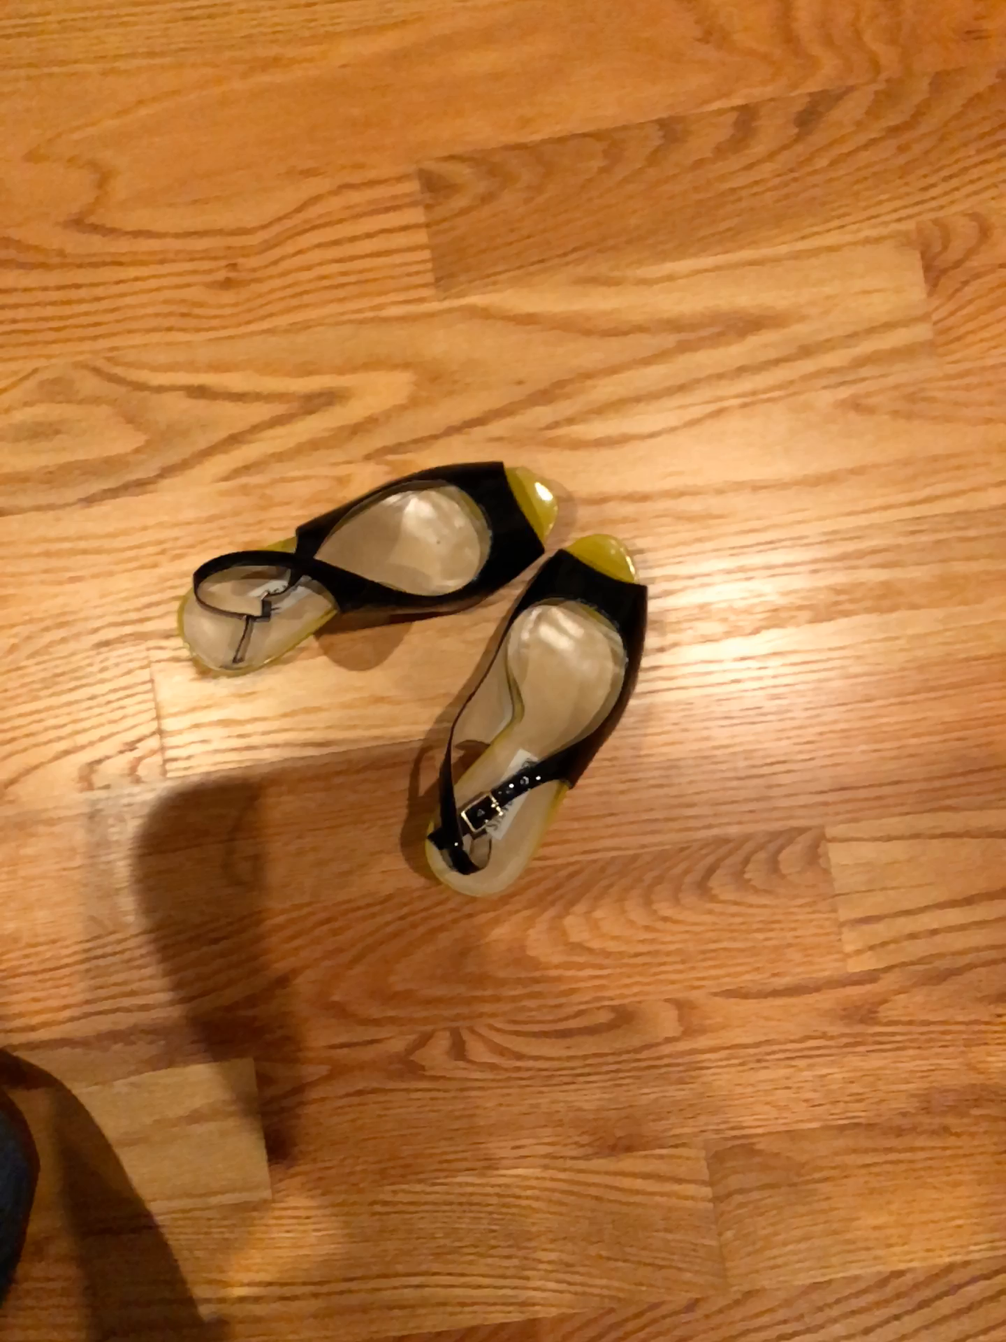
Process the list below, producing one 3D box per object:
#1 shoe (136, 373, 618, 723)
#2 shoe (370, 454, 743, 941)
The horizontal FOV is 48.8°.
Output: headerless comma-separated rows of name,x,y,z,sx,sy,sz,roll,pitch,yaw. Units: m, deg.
shoe,-0.056,-0.054,0.567,0.204,0.122,0.085,-23,88,1
shoe,0.026,0.013,0.562,0.085,0.132,0.201,27,90,3
